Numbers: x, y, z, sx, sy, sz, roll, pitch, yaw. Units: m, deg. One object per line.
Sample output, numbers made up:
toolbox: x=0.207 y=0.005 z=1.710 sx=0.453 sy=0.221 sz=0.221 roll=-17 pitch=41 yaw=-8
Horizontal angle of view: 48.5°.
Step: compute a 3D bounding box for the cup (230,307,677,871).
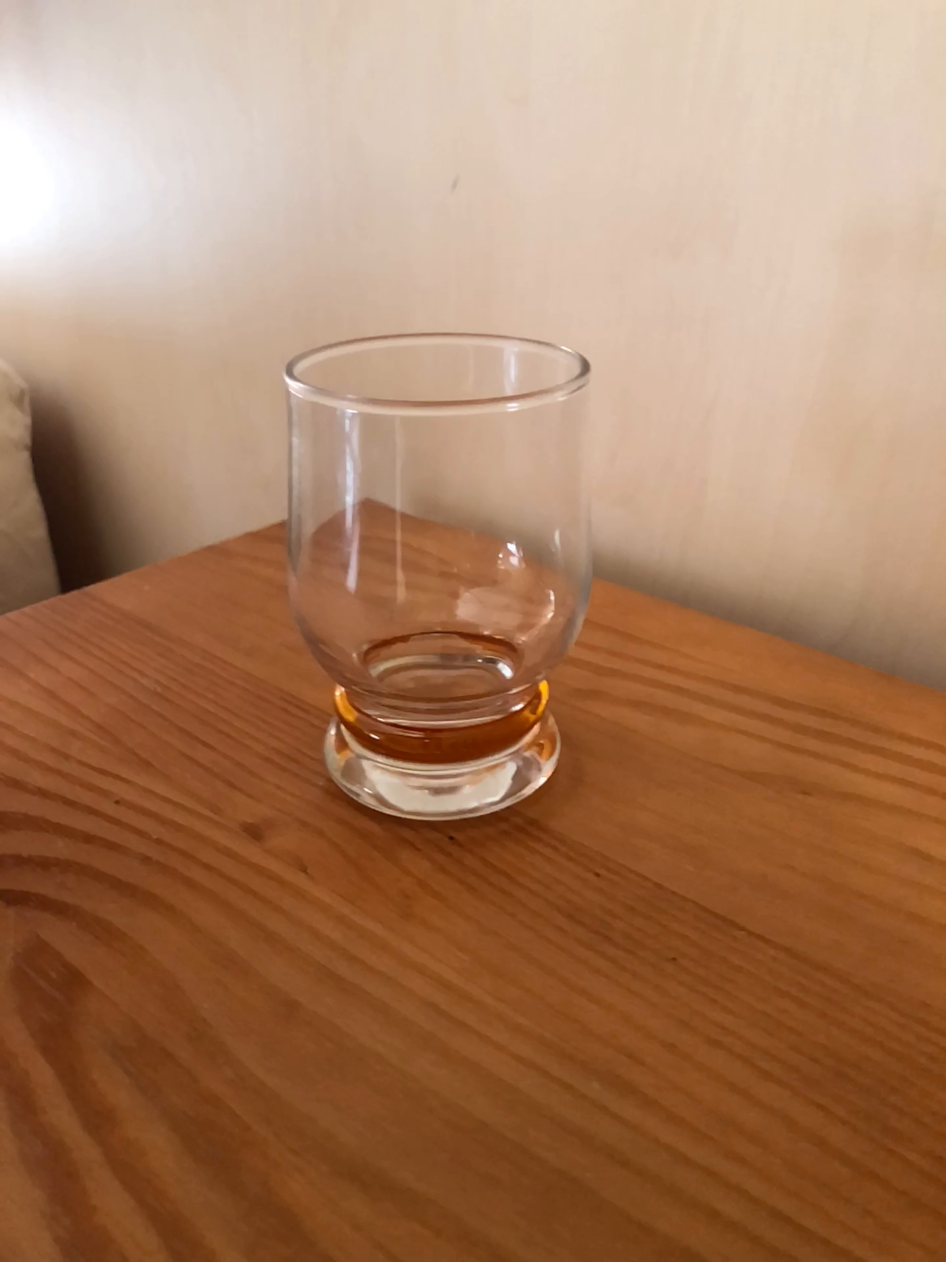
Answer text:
cup: x=0.000 y=-0.015 z=0.245 sx=0.073 sy=0.099 sz=0.076 roll=1 pitch=27 yaw=0
